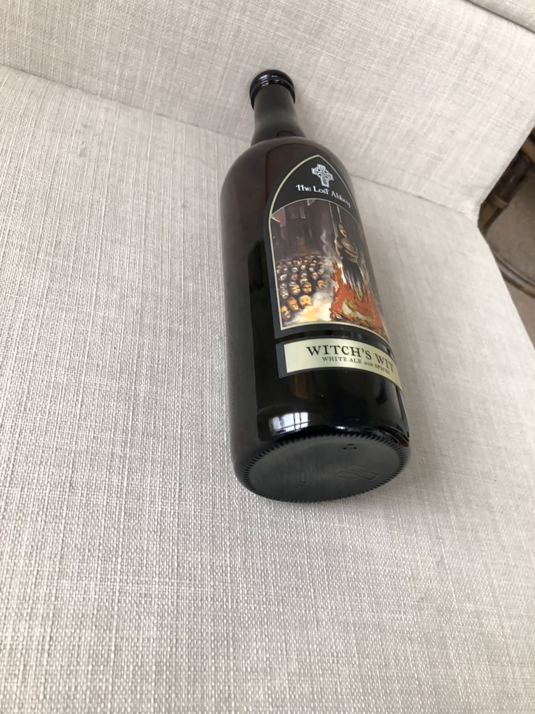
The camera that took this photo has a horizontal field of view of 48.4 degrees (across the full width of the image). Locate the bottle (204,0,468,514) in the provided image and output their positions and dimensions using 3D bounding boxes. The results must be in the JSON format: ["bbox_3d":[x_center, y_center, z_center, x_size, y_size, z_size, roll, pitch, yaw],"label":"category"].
[{"bbox_3d":[0.017,-0.069,0.321,0.080,0.079,0.282,11,54,-22],"label":"bottle"}]
